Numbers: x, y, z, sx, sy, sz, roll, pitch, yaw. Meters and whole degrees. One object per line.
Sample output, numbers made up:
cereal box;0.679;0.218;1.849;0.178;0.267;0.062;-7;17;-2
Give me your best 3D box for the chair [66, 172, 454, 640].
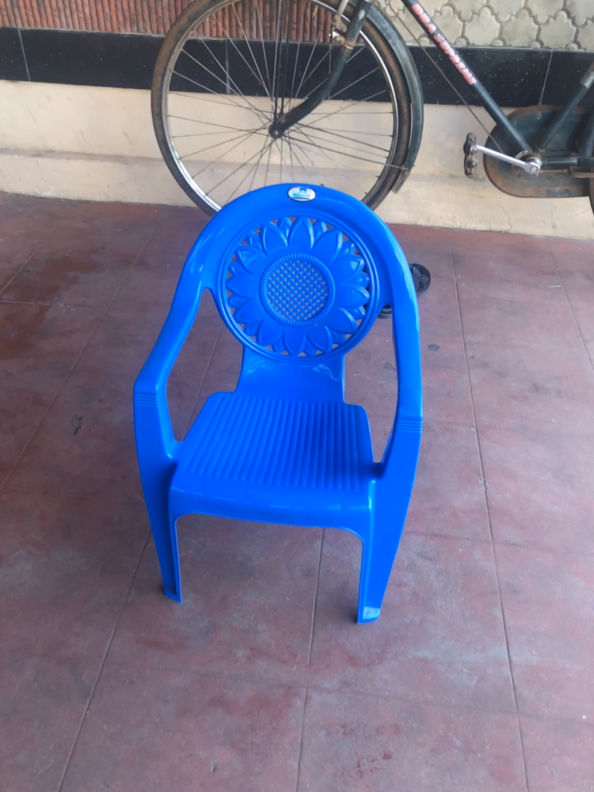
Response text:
chair;-0.015;0.006;0.993;0.400;0.497;0.453;6;41;5
